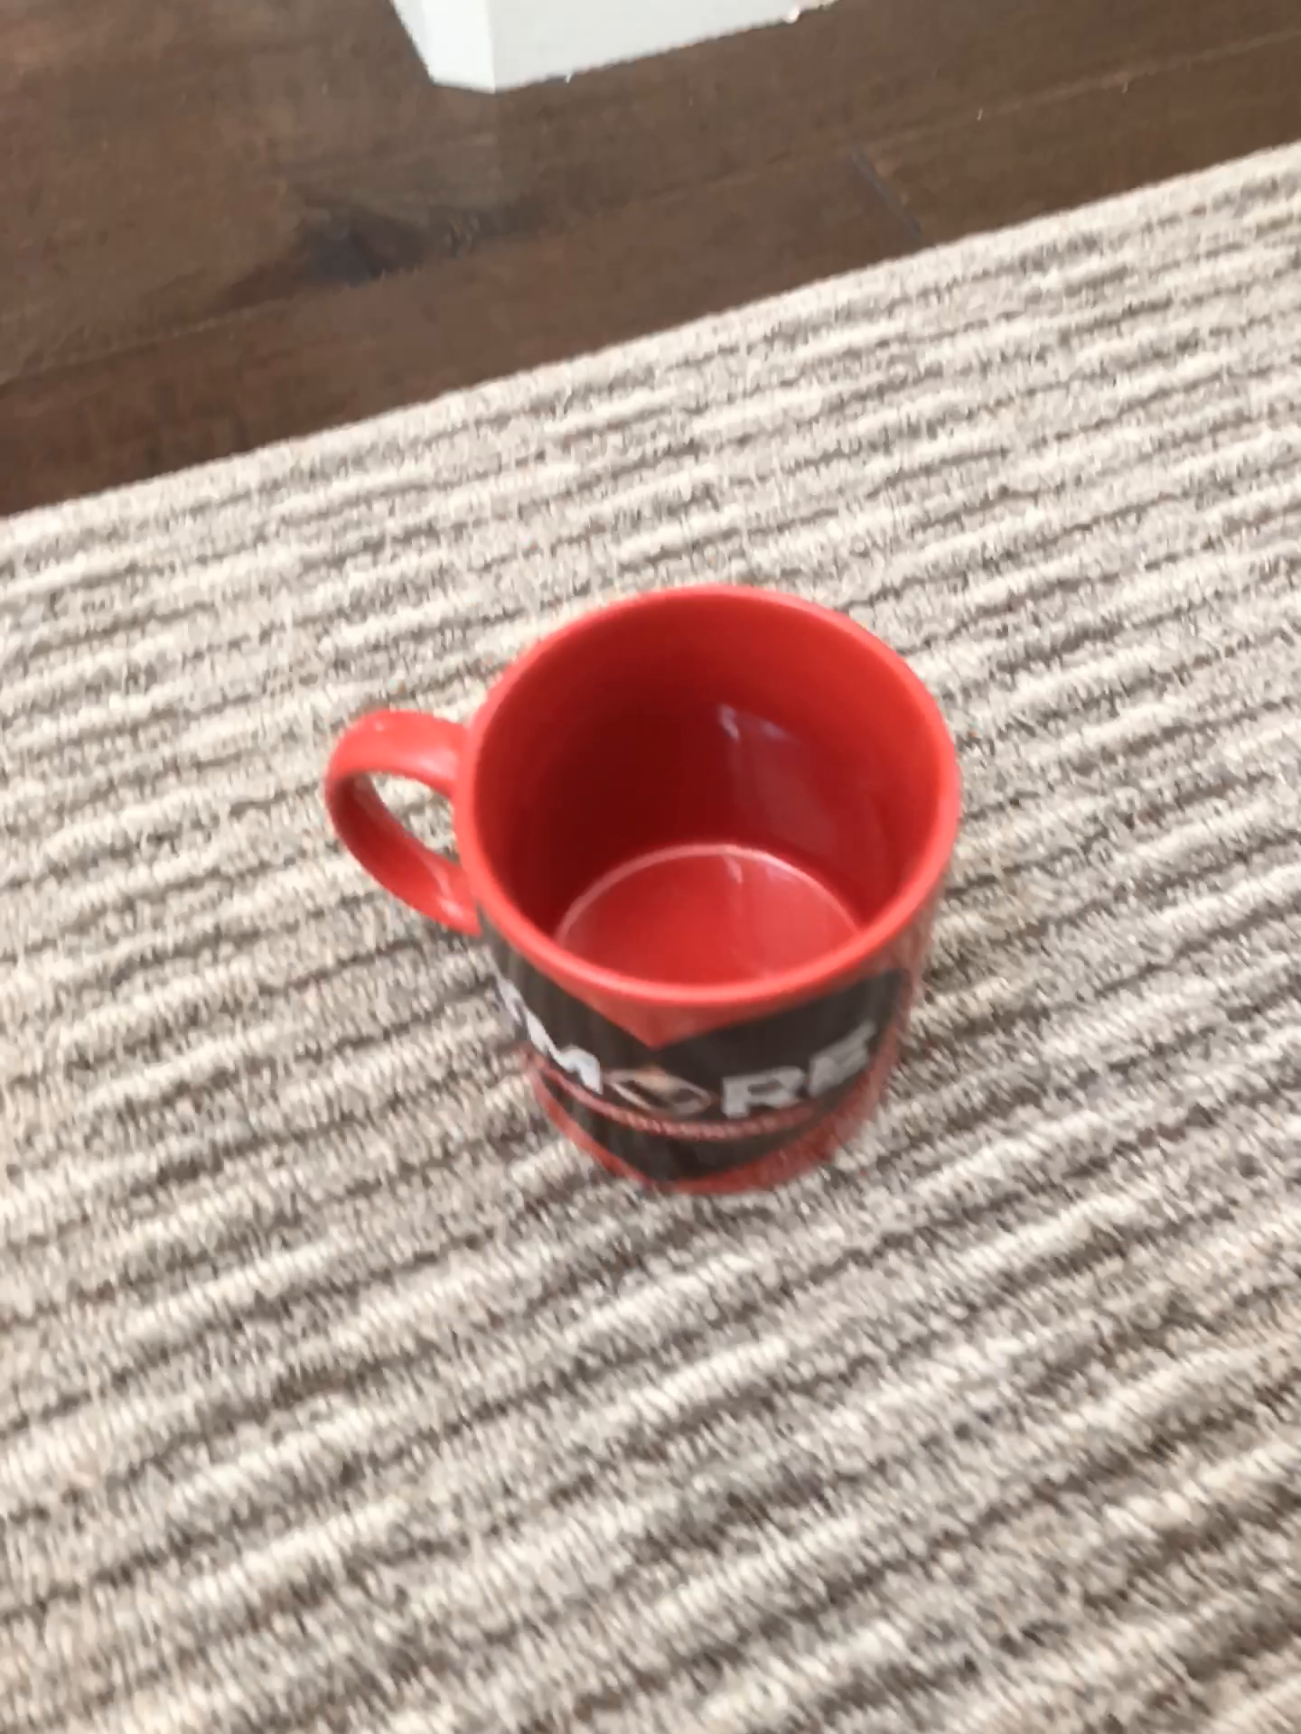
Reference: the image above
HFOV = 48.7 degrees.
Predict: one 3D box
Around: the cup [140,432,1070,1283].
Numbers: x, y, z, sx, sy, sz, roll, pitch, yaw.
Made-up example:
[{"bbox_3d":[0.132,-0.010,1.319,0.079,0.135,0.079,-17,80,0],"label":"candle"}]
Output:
[{"bbox_3d":[-0.004,0.000,0.331,0.150,0.119,0.111,18,61,13],"label":"cup"}]
